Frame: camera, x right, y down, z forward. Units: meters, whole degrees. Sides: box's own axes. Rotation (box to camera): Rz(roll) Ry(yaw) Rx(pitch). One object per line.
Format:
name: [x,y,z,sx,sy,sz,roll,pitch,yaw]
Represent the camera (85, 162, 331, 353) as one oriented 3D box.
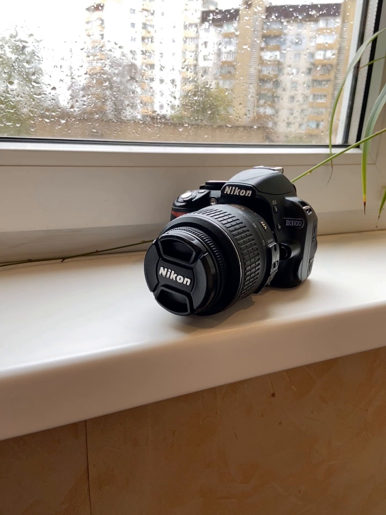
camera: [0.020,-0.019,0.316,0.122,0.092,0.159,14,21,31]
